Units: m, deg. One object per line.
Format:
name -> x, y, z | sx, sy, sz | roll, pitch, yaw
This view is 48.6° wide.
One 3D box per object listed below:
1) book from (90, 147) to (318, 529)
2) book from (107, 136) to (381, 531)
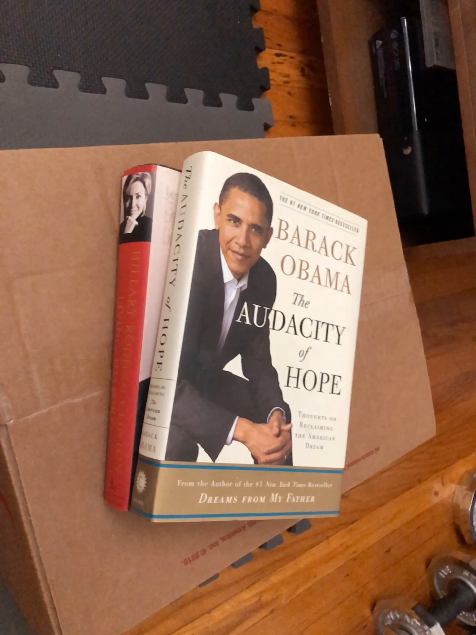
book -> -0.017, 0.017, 0.411 | 0.171, 0.040, 0.250 | 6, 84, -36
book -> 0.019, 0.022, 0.399 | 0.191, 0.040, 0.250 | 14, 80, -35
